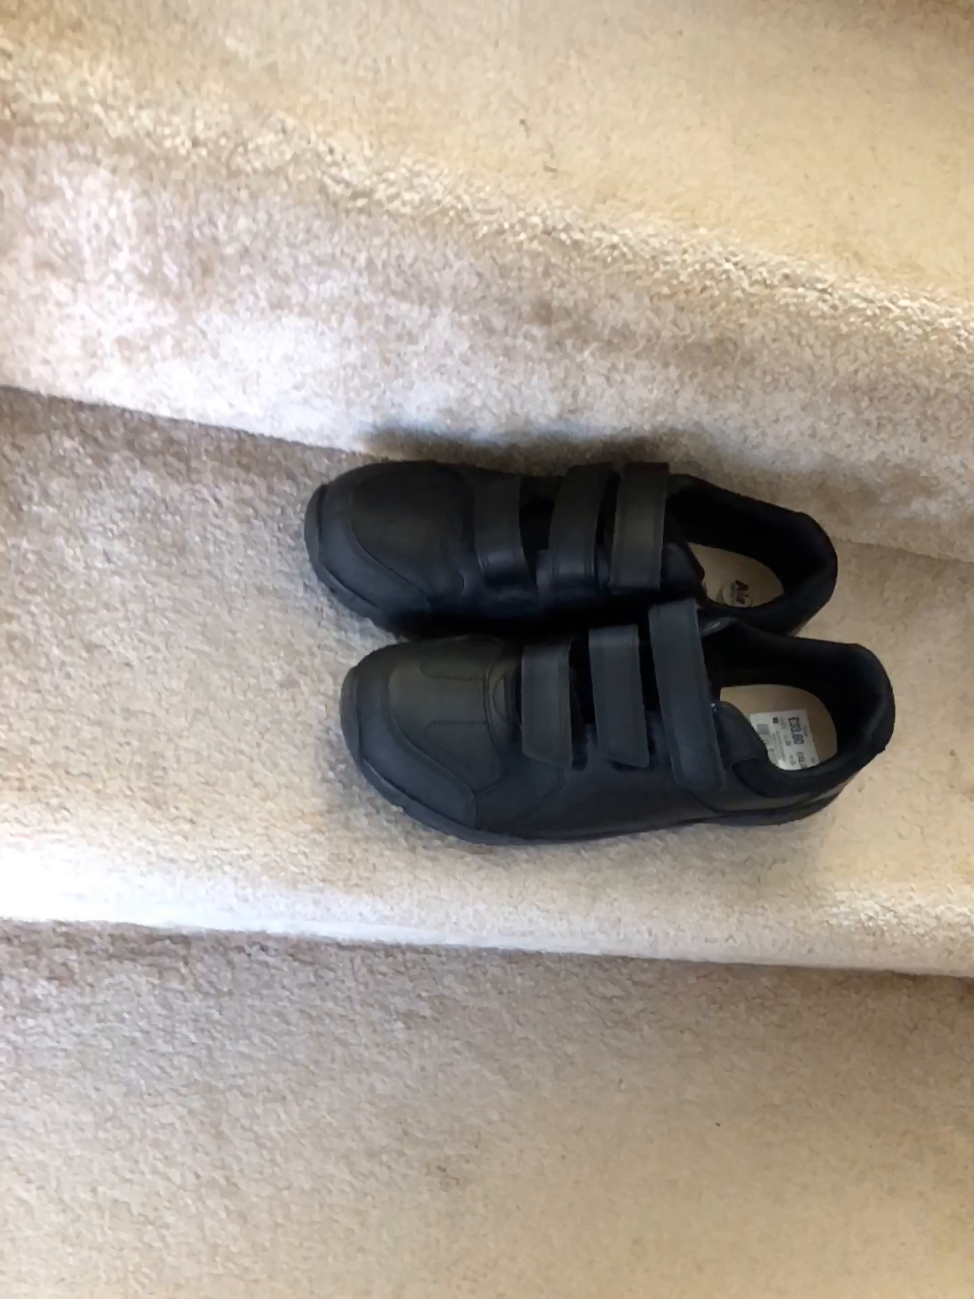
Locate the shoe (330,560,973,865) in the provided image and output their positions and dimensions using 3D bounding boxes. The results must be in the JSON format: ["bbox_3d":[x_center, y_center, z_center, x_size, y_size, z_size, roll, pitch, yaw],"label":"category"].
[{"bbox_3d":[0.071,0.035,0.494,0.270,0.100,0.100,3,65,-17],"label":"shoe"}]

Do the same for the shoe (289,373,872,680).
[{"bbox_3d":[0.041,-0.054,0.550,0.270,0.100,0.100,3,65,-17],"label":"shoe"}]
